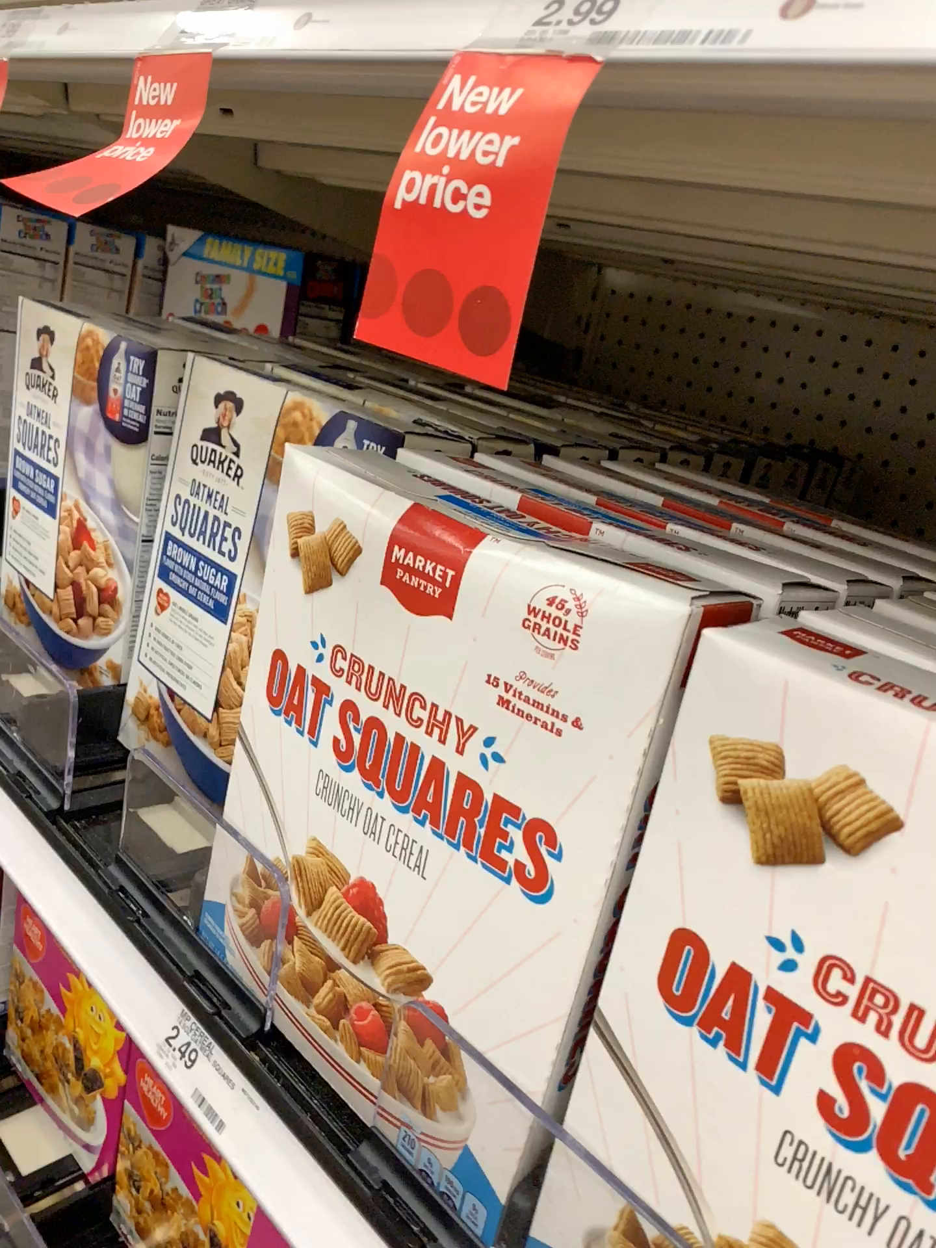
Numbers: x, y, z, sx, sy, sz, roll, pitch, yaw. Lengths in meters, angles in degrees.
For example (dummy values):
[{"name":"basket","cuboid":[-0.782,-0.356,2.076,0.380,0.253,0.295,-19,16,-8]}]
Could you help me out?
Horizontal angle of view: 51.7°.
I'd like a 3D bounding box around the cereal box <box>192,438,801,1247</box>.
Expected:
[{"name":"cereal box","cuboid":[-0.011,0.077,0.372,0.190,0.249,0.060,27,21,37]}]
